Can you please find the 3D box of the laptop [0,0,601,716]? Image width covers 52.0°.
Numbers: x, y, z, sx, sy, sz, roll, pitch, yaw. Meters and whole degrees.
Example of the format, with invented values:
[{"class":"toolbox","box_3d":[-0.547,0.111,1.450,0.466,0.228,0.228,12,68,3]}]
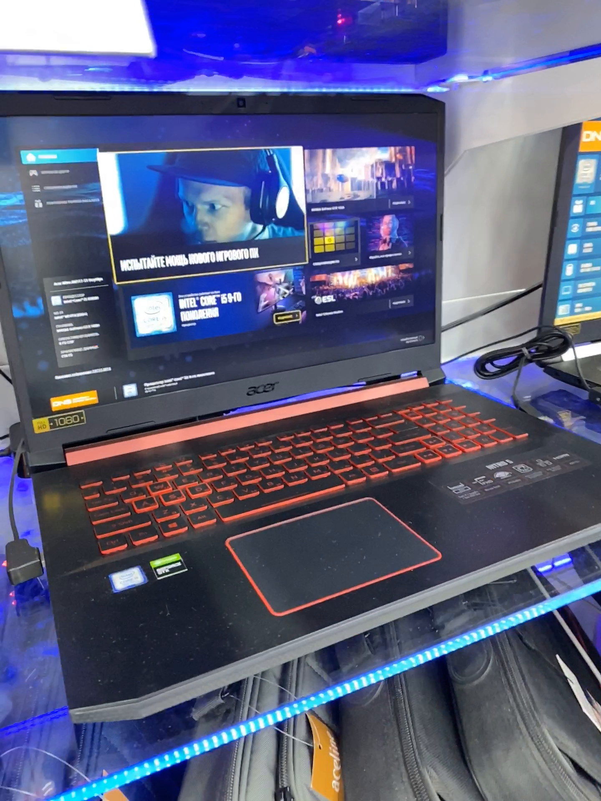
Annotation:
[{"class":"laptop","box_3d":[0.022,-0.074,0.413,0.406,0.268,0.285,-11,21,-24]}]
